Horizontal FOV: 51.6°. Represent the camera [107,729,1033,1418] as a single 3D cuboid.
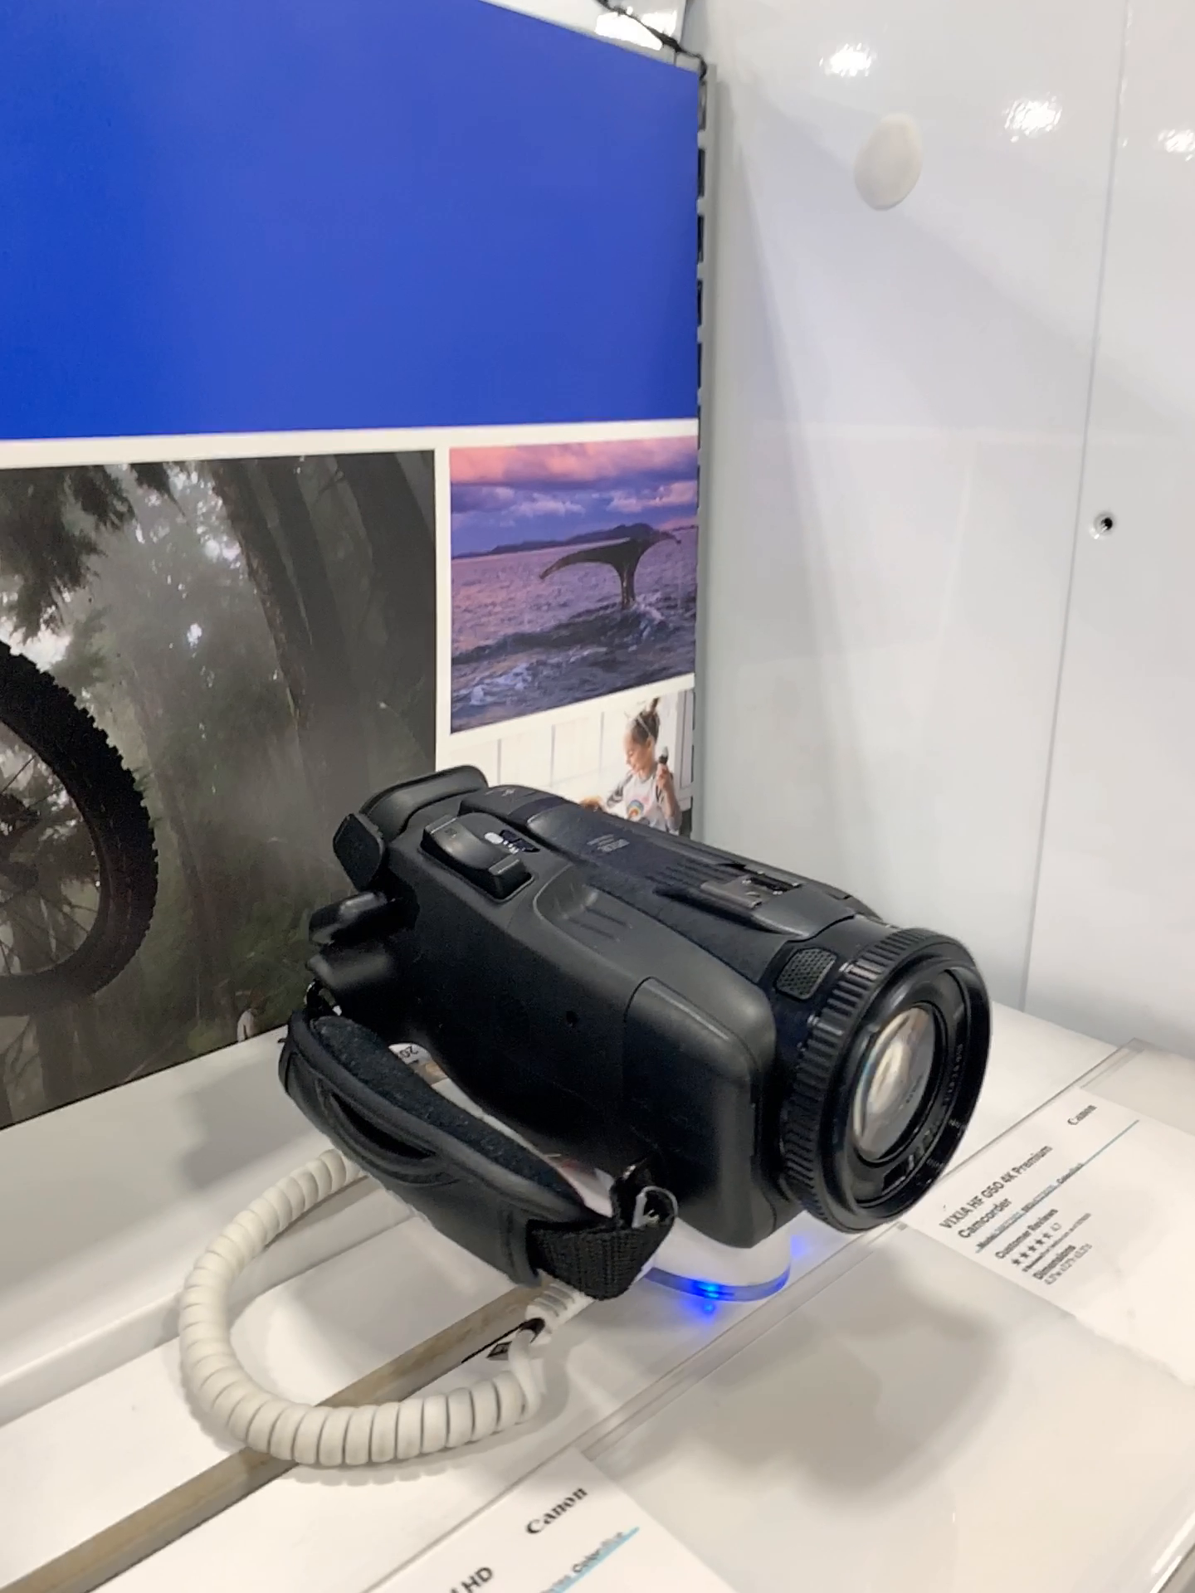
[{"bbox_3d":[-0.016,0.043,0.321,0.200,0.069,0.132,15,22,42],"label":"camera"}]
